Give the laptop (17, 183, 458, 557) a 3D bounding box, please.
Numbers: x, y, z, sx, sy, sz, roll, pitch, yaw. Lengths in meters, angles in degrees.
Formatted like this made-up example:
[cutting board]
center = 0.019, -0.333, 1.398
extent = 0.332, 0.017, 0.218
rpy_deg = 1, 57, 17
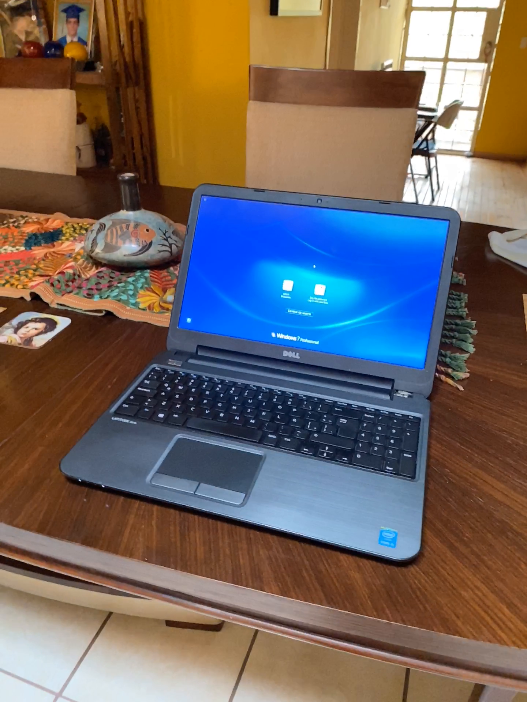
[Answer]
[laptop]
center = 0.017, -0.031, 0.635
extent = 0.367, 0.194, 0.397
rpy_deg = 10, 33, 13
